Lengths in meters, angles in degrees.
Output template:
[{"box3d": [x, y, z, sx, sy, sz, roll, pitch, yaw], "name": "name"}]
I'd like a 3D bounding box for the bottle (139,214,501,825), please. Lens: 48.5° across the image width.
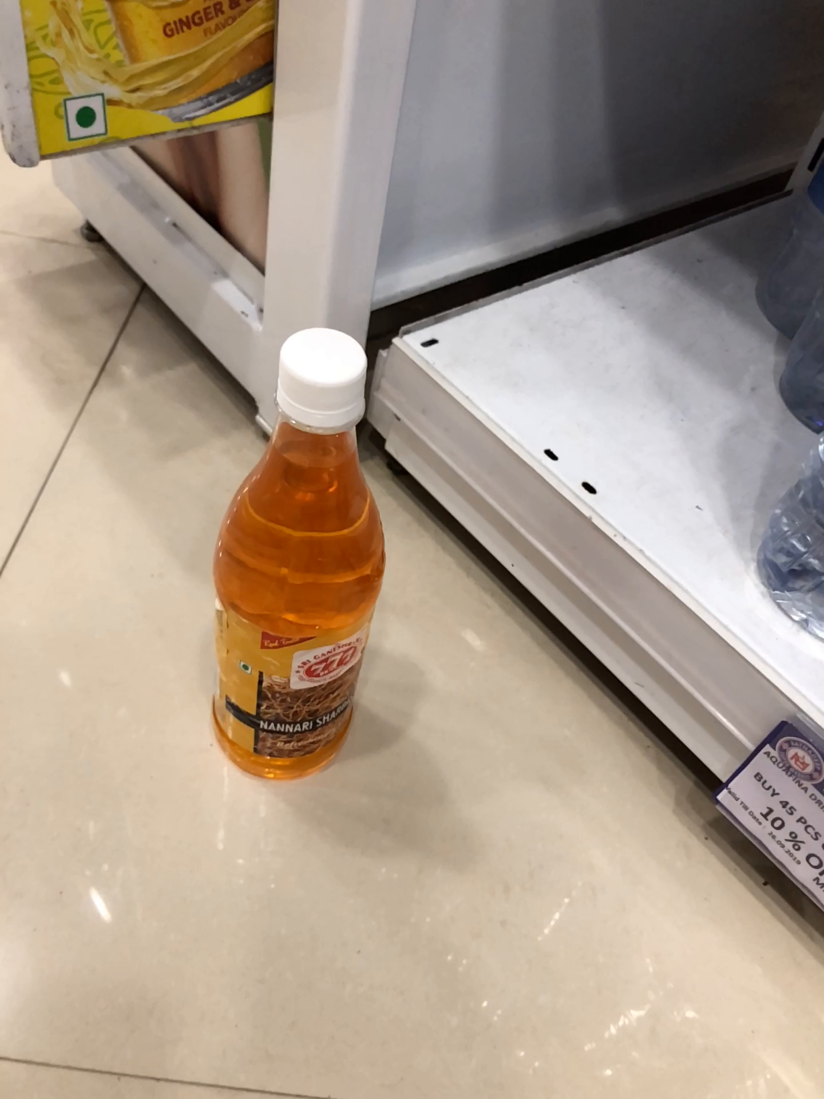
[{"box3d": [-0.059, 0.007, 0.441, 0.100, 0.298, 0.100, 6, 48, -7], "name": "bottle"}]
